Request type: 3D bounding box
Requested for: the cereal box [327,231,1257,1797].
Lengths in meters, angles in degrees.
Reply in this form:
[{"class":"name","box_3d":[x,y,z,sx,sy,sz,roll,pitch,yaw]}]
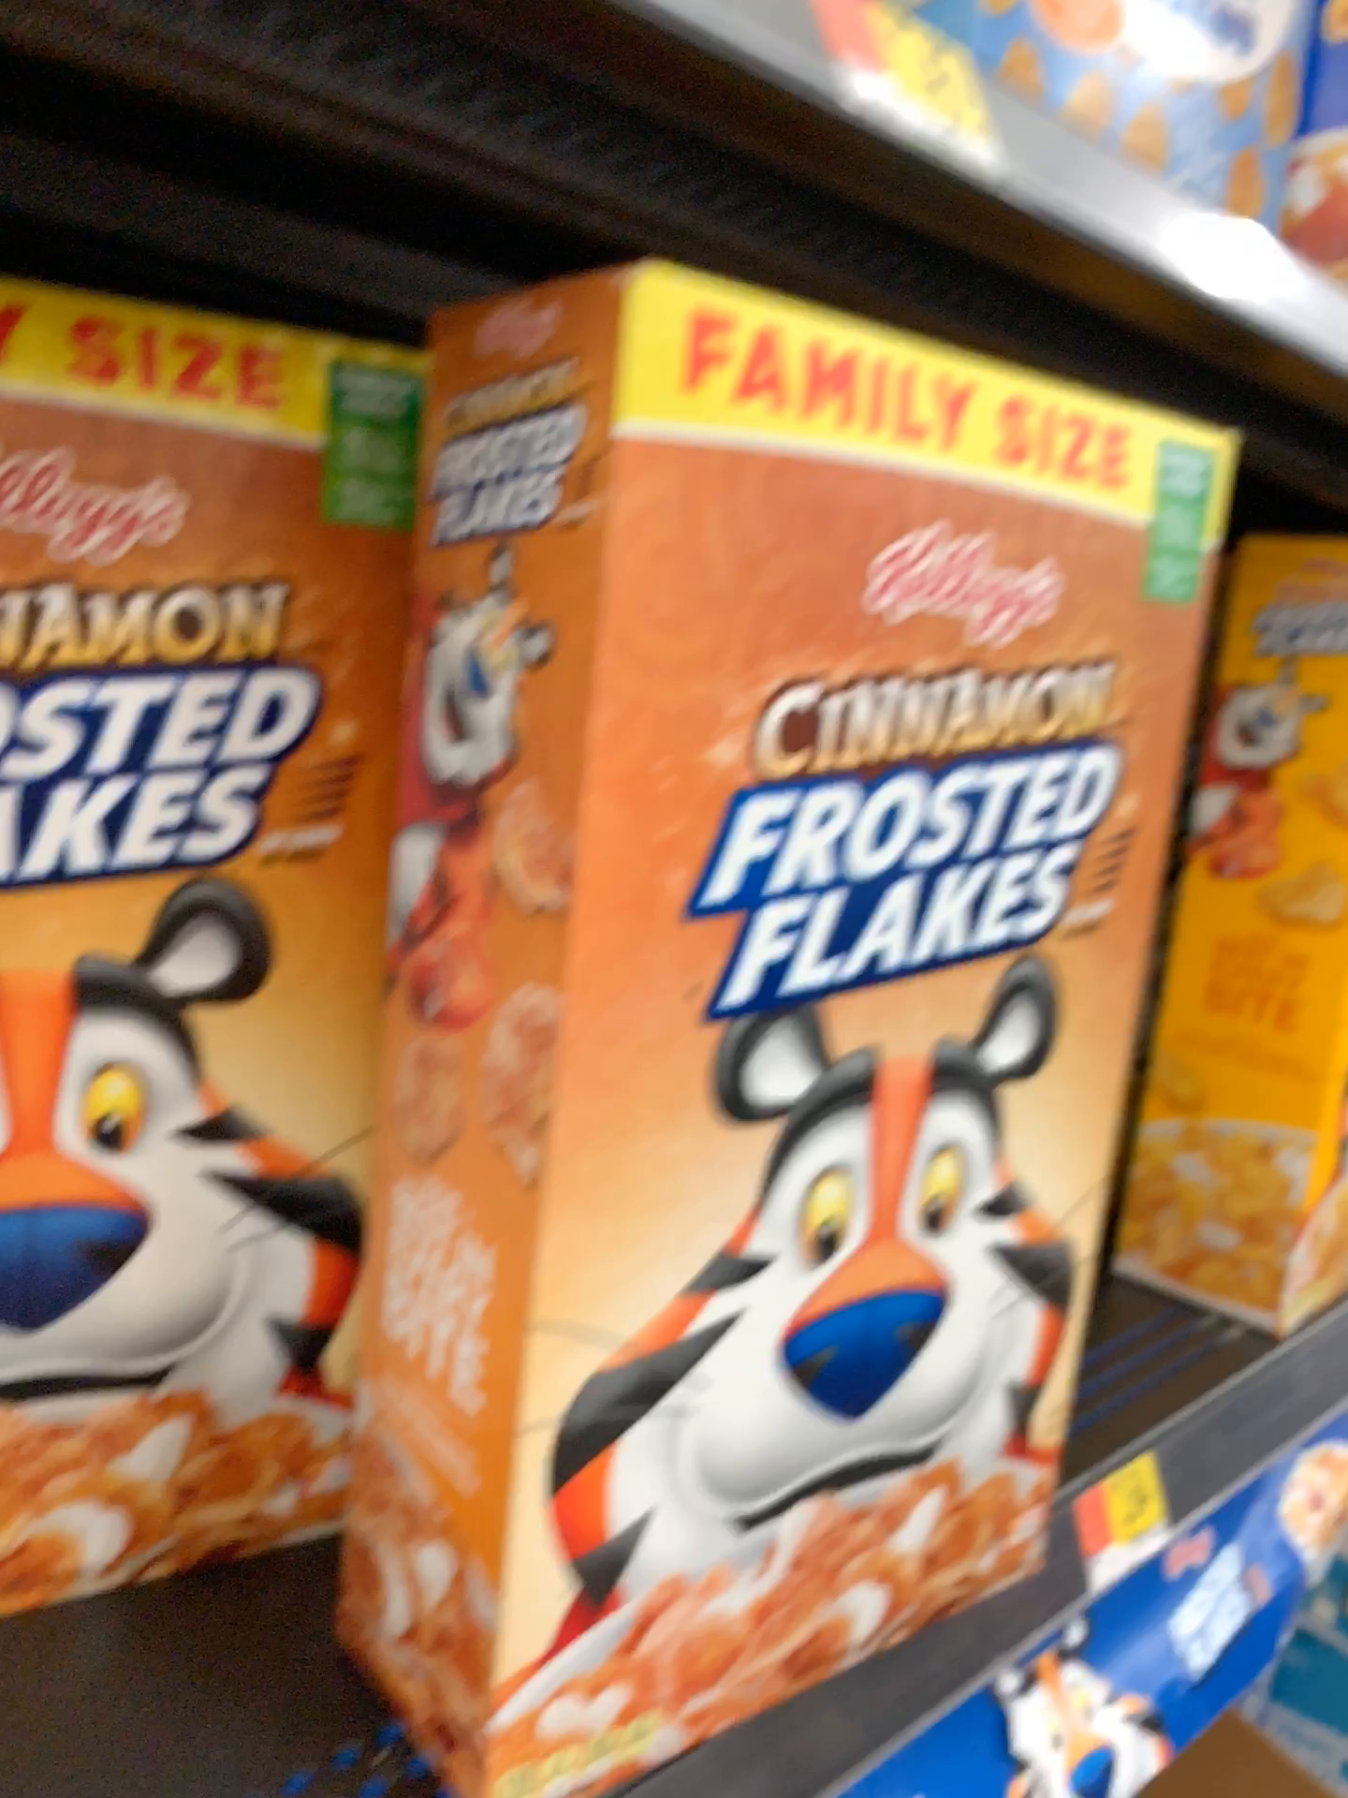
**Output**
[{"class":"cereal box","box_3d":[0.034,0.038,0.370,0.210,0.339,0.070,-2,13,-39]}]
